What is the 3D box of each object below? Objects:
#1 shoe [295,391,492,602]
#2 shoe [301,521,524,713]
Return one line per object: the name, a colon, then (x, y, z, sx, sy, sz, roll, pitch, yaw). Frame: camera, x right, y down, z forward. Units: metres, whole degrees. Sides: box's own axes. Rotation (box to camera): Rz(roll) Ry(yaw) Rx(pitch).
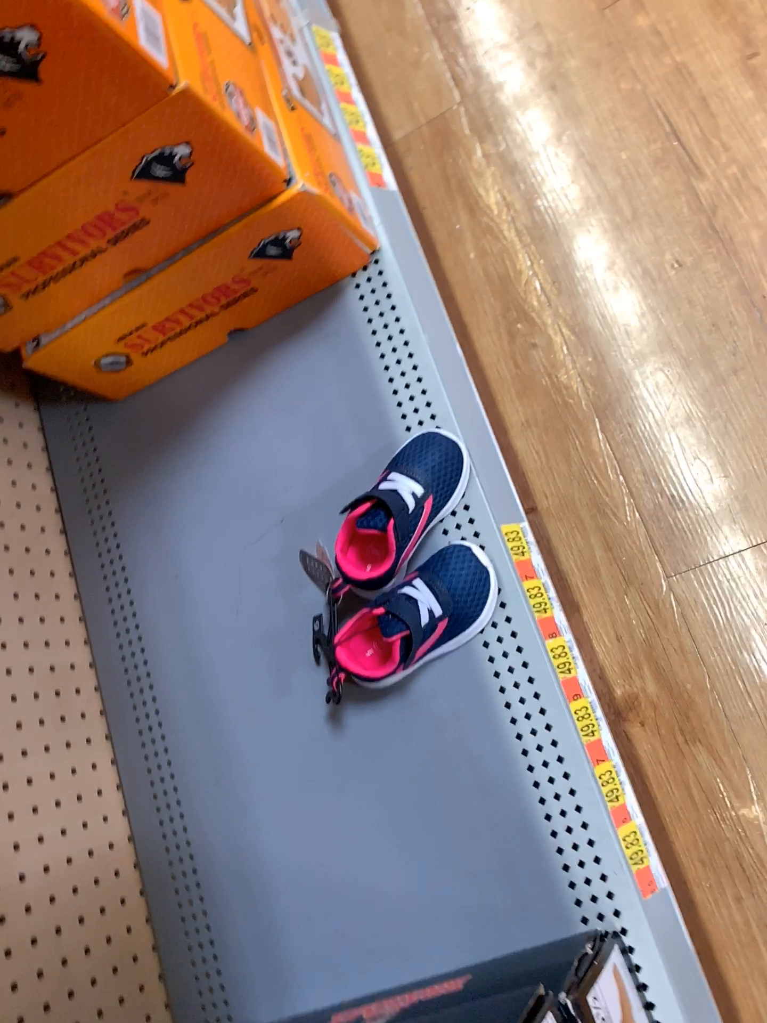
shoe: (0.008, -0.009, 0.631, 0.073, 0.064, 0.145, 36, 98, 24)
shoe: (0.022, 0.083, 0.611, 0.145, 0.064, 0.073, -38, 69, 15)
